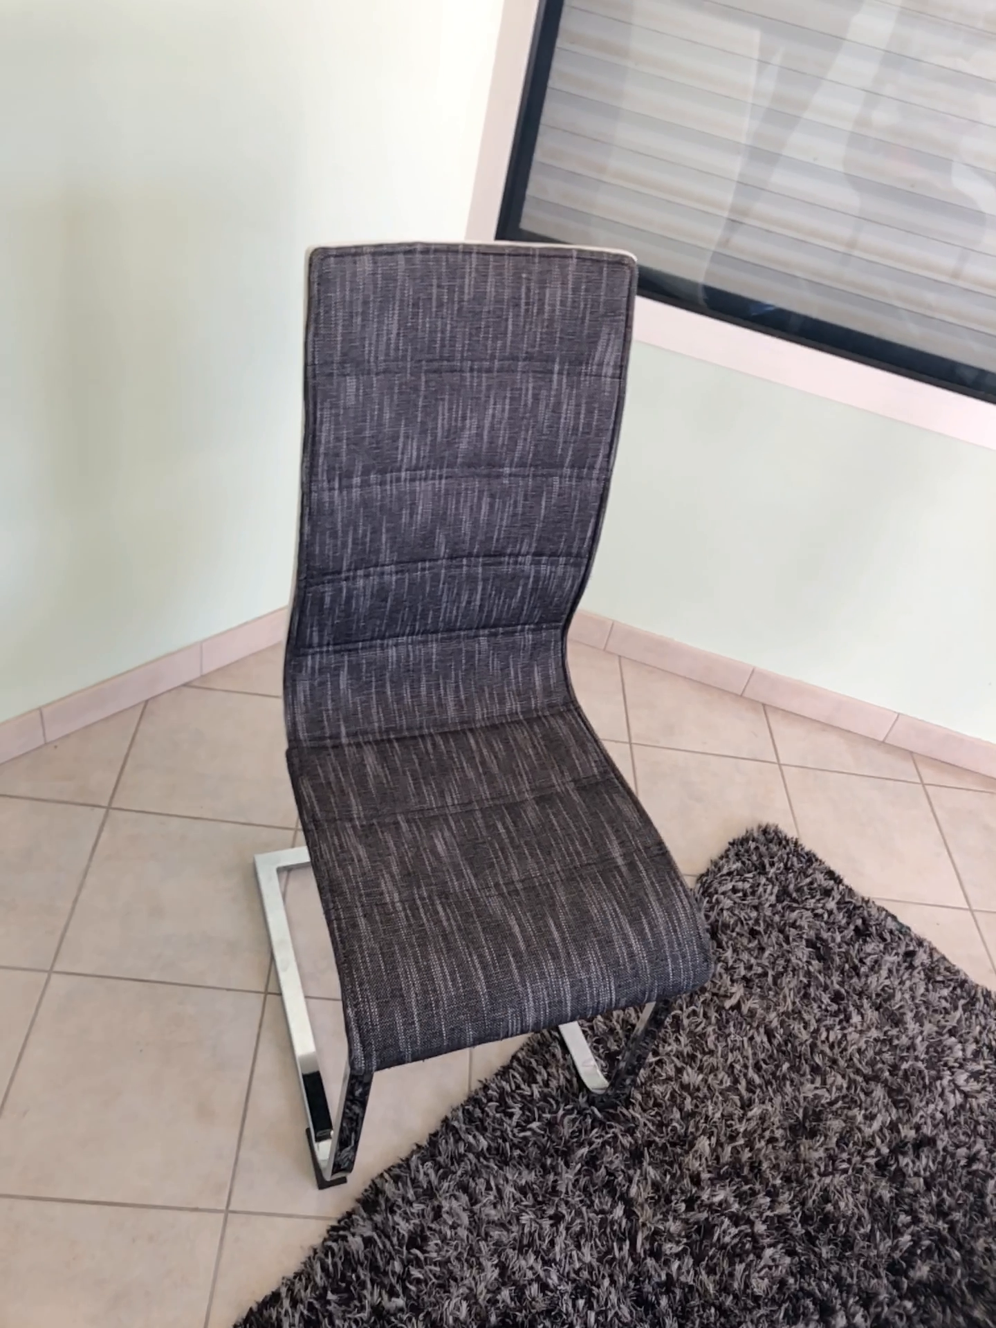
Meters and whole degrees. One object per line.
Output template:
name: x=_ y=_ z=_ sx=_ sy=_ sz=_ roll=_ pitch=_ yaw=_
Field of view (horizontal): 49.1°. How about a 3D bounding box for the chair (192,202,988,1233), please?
chair: x=-0.044 y=0.088 z=1.247 sx=0.502 sy=0.964 sz=0.582 roll=-7 pitch=45 yaw=-23
